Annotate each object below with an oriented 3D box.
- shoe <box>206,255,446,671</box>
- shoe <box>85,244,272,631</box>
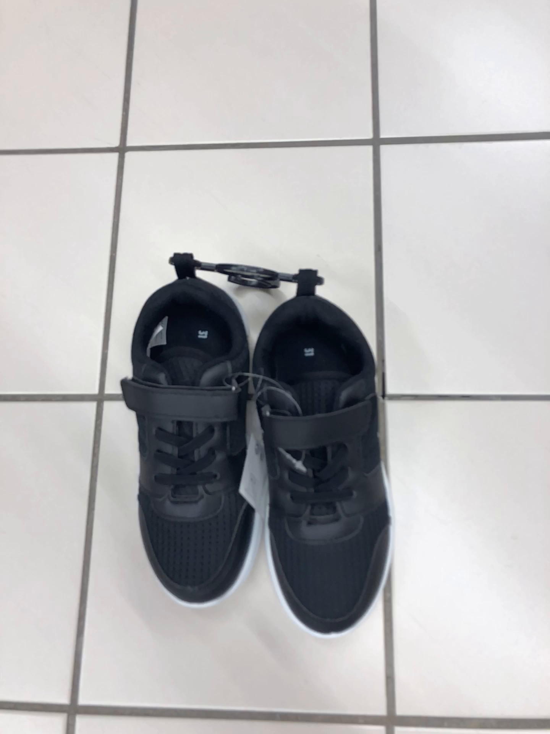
[{"bbox_3d":[0.026,0.054,0.373,0.097,0.064,0.222,-10,76,1],"label":"shoe"},{"bbox_3d":[-0.058,0.041,0.382,0.097,0.064,0.222,-4,76,3],"label":"shoe"}]
